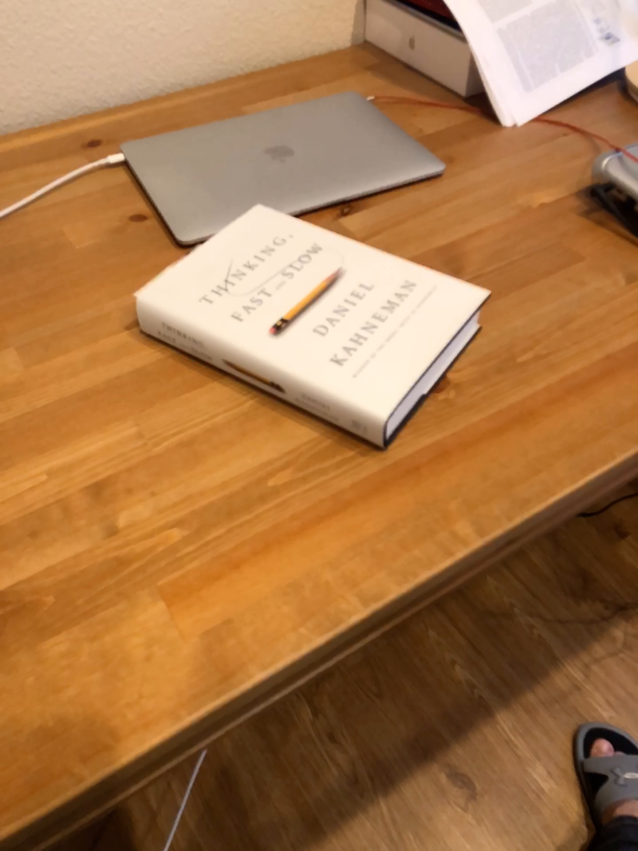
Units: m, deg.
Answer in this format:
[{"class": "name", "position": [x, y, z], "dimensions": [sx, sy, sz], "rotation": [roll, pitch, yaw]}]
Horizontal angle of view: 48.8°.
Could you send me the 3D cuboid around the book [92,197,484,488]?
[{"class": "book", "position": [-0.024, -0.083, 0.574], "dimensions": [0.250, 0.060, 0.180], "rotation": [27, 54, 23]}]
